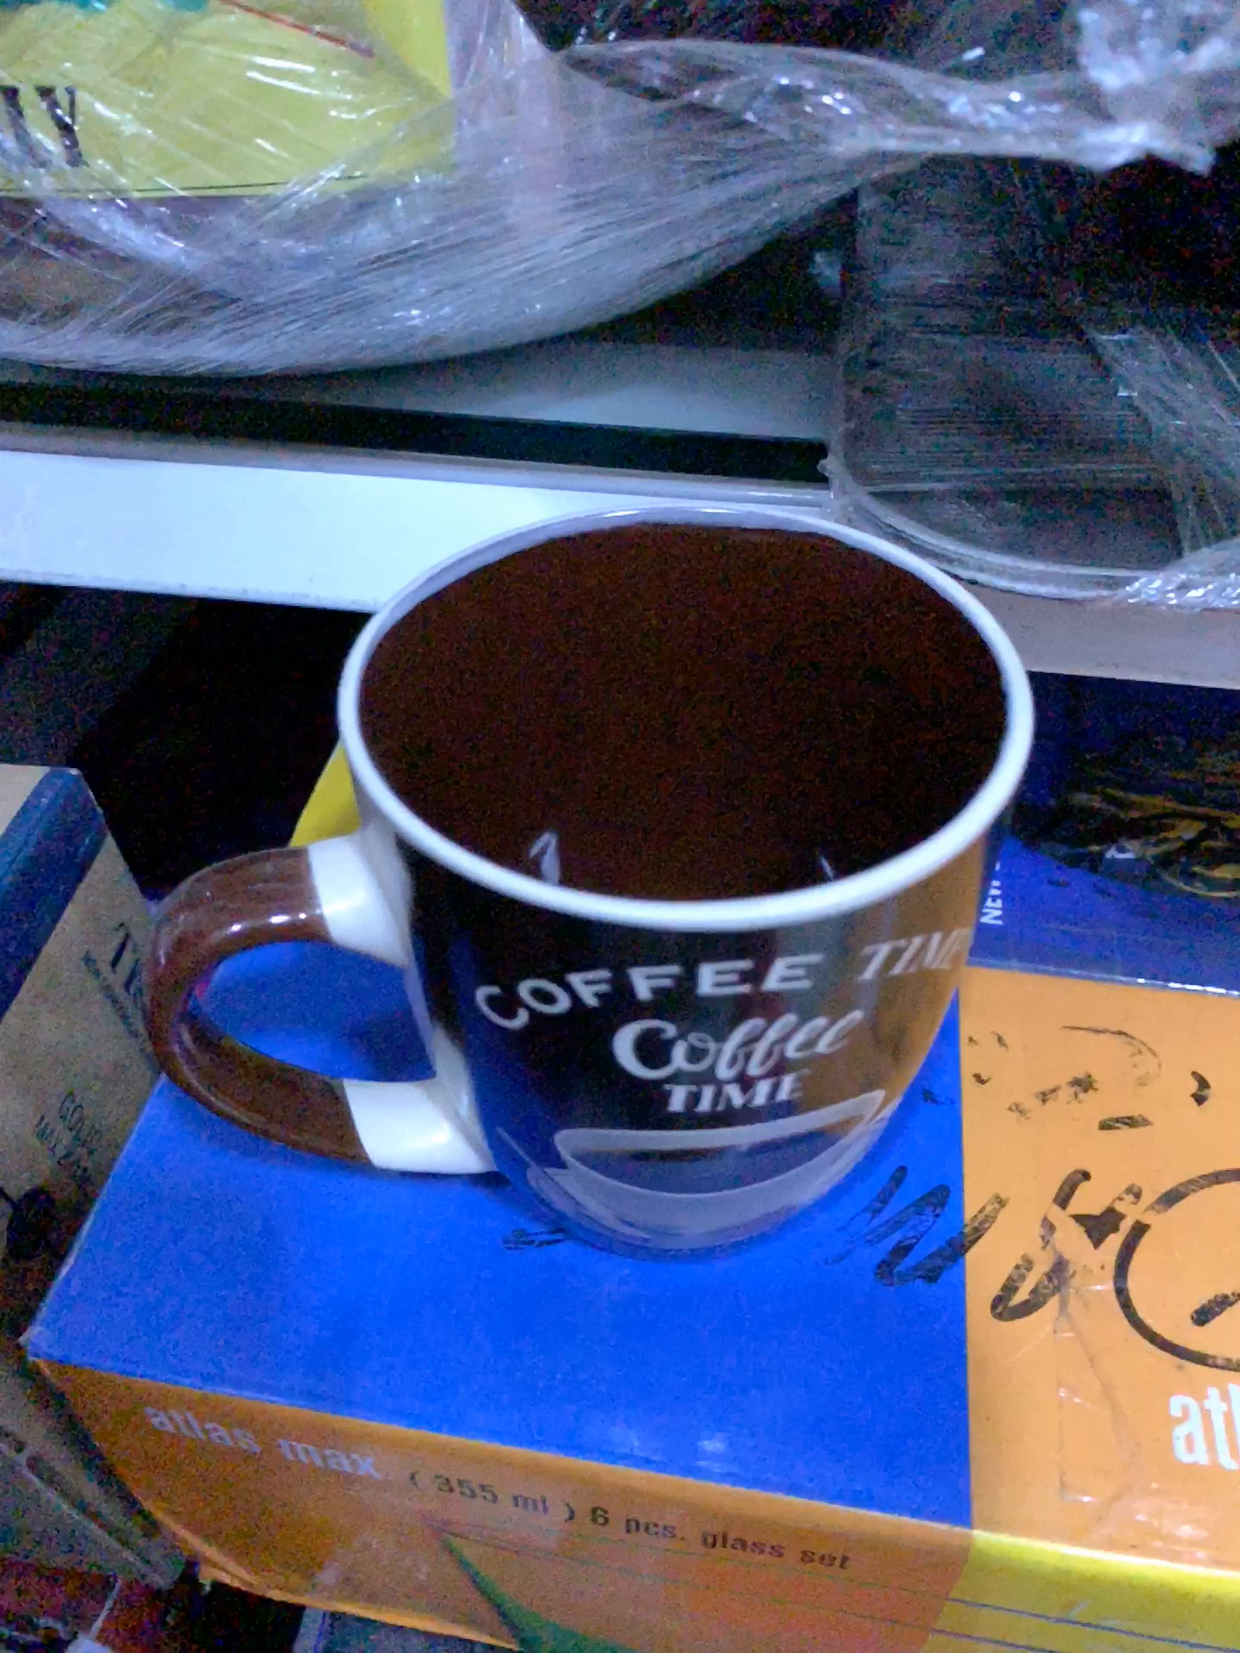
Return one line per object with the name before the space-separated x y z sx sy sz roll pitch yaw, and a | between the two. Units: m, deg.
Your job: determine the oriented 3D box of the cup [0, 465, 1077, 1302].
cup | -0.011 0.007 0.181 0.110 0.079 0.071 -6 43 -4
